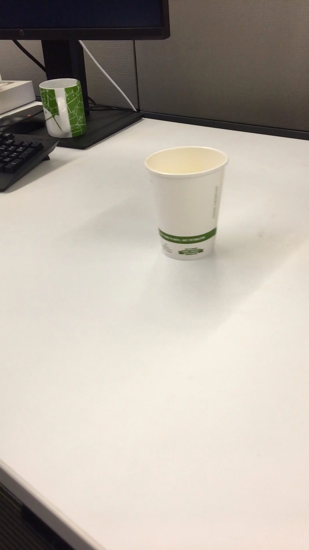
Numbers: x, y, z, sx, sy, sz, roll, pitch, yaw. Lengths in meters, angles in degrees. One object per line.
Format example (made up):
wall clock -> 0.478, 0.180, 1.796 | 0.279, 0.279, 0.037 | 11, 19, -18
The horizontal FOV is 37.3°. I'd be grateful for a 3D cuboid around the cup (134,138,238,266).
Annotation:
cup -> 0.033, -0.082, 0.502 | 0.080, 0.100, 0.090 | -13, 34, -13
